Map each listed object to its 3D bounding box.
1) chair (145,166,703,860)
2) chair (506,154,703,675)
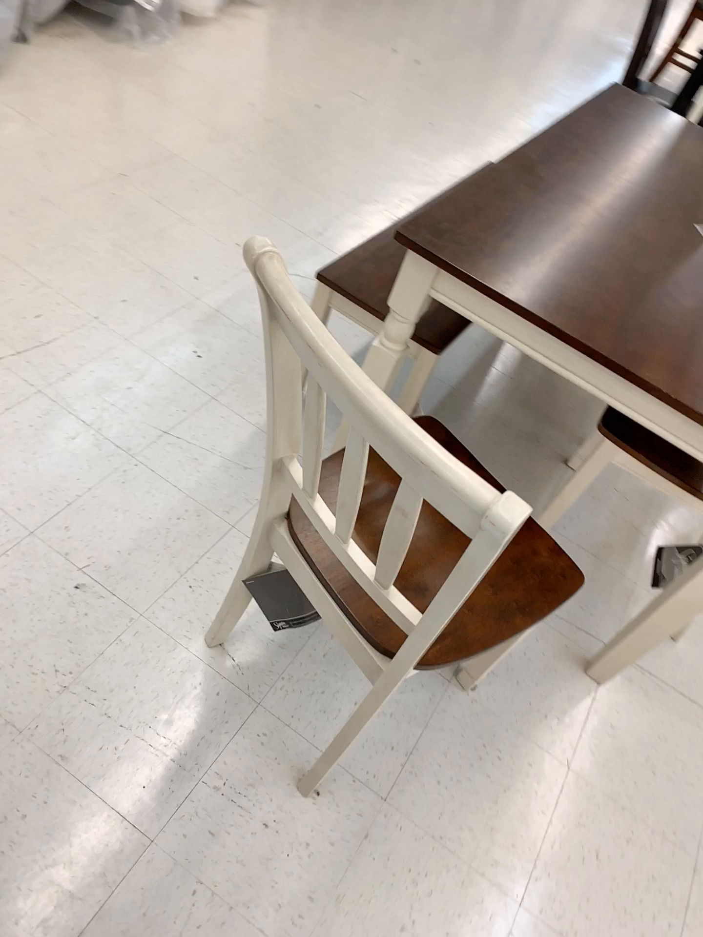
[{"bbox_3d":[0.098,0.096,1.171,0.596,0.902,0.525,-25,62,-36],"label":"chair"},{"bbox_3d":[0.900,-0.079,1.644,0.604,0.932,0.466,34,47,10],"label":"chair"}]
